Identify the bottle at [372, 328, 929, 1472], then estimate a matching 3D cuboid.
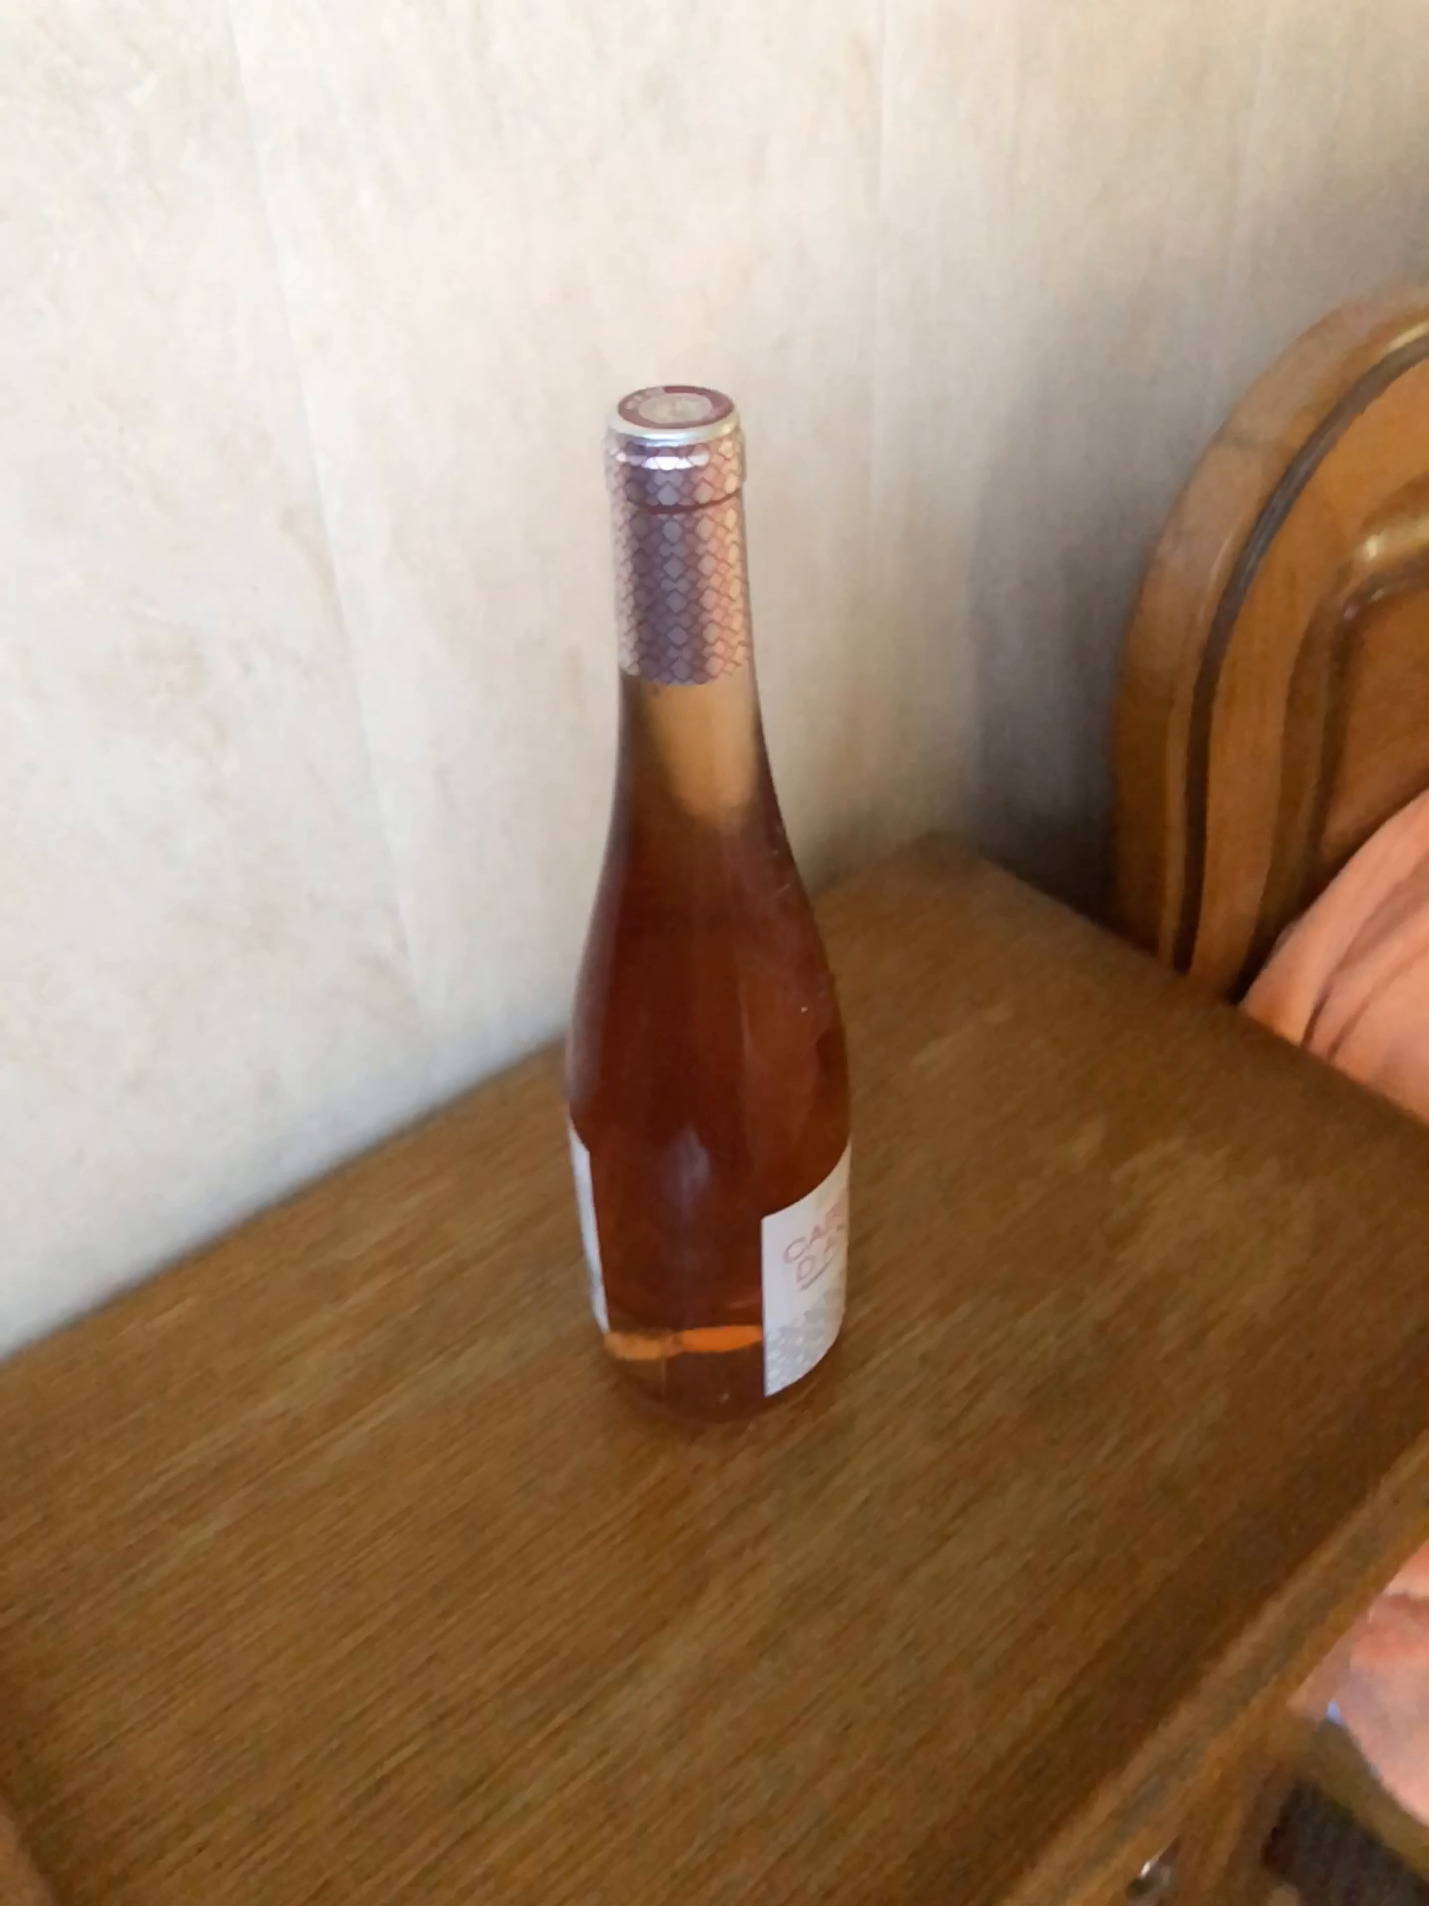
[{"bbox_3d":[-0.007,0.003,0.421,0.090,0.298,0.081,14,41,20],"label":"bottle"}]
